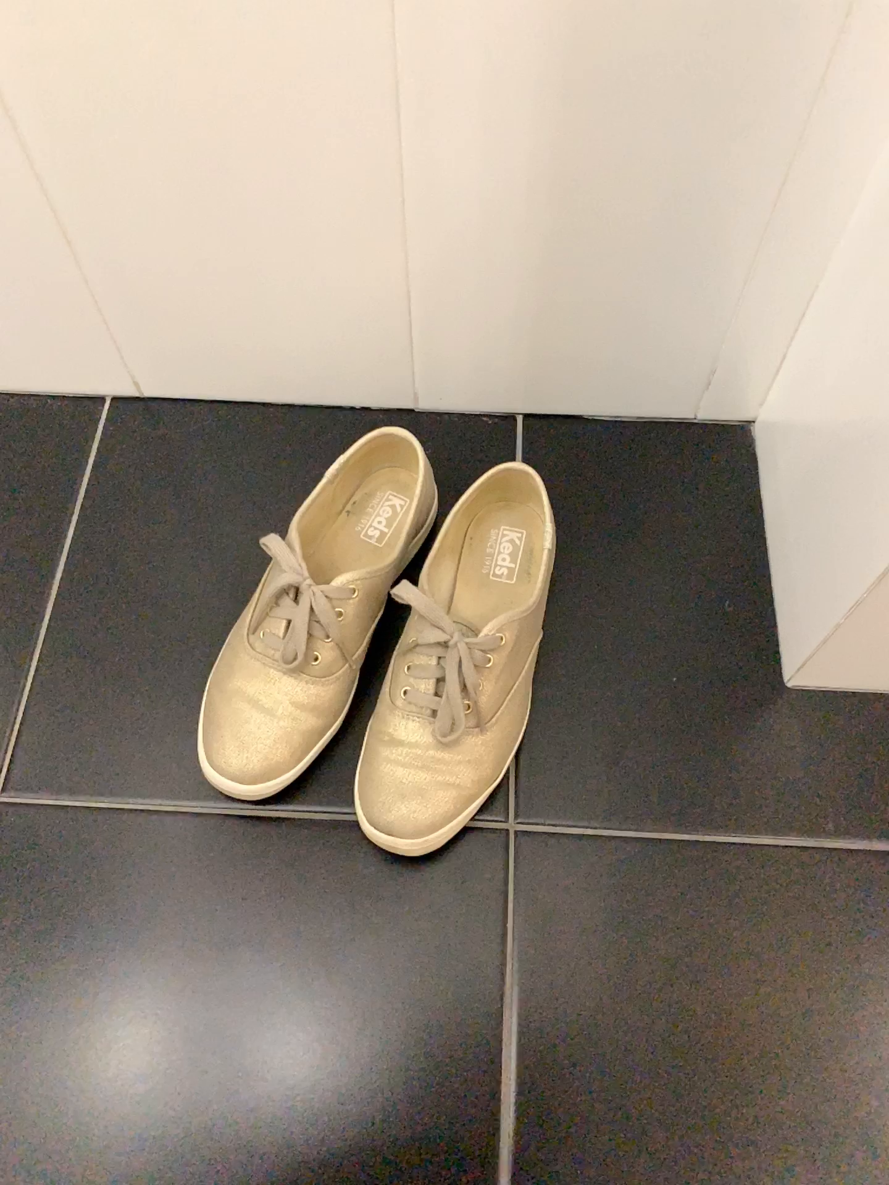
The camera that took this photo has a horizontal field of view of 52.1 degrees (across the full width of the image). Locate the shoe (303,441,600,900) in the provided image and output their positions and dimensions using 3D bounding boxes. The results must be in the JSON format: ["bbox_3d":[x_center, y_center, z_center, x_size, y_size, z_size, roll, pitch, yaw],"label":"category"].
[{"bbox_3d":[0.011,0.042,0.530,0.090,0.100,0.231,17,63,8],"label":"shoe"}]

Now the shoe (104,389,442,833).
[{"bbox_3d":[-0.087,0.008,0.545,0.090,0.100,0.231,20,64,10],"label":"shoe"}]
